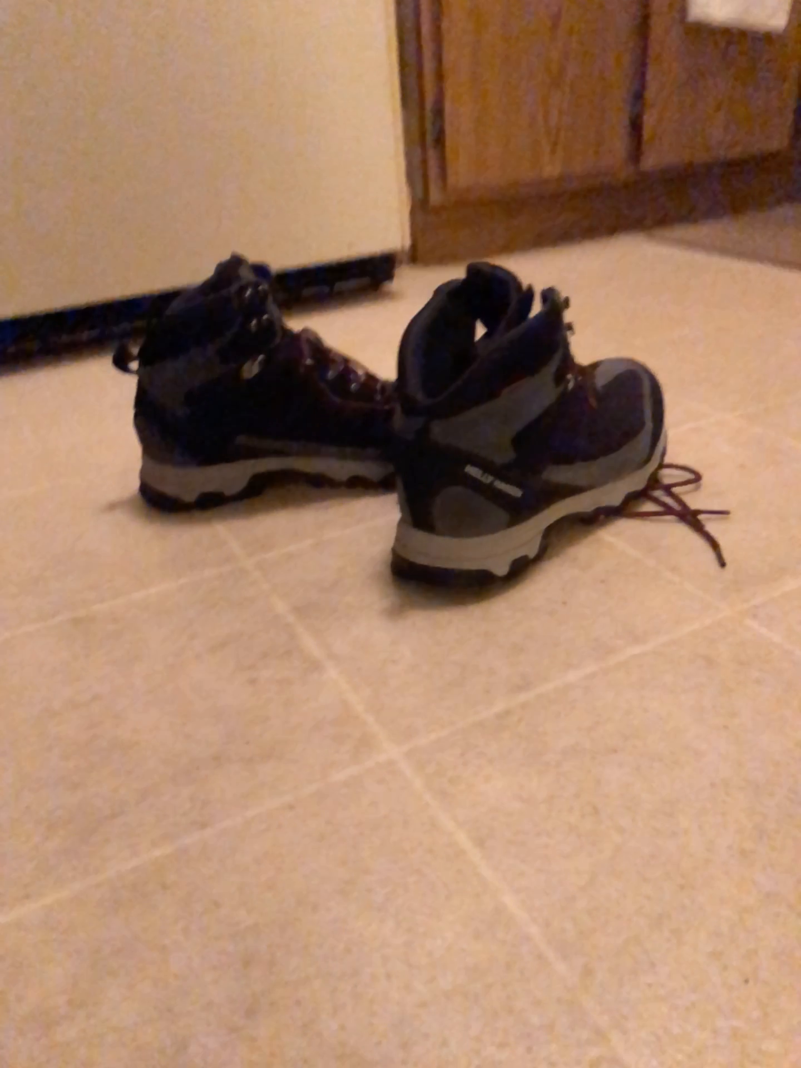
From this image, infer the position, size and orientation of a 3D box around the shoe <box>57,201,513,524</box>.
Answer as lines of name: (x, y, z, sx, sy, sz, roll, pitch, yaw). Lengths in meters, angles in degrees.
shoe: (-0.077, -0.140, 0.702, 0.309, 0.195, 0.127, -6, 28, -3)

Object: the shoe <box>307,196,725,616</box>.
shoe: (0.096, -0.111, 0.622, 0.116, 0.195, 0.300, 20, 37, 39)
